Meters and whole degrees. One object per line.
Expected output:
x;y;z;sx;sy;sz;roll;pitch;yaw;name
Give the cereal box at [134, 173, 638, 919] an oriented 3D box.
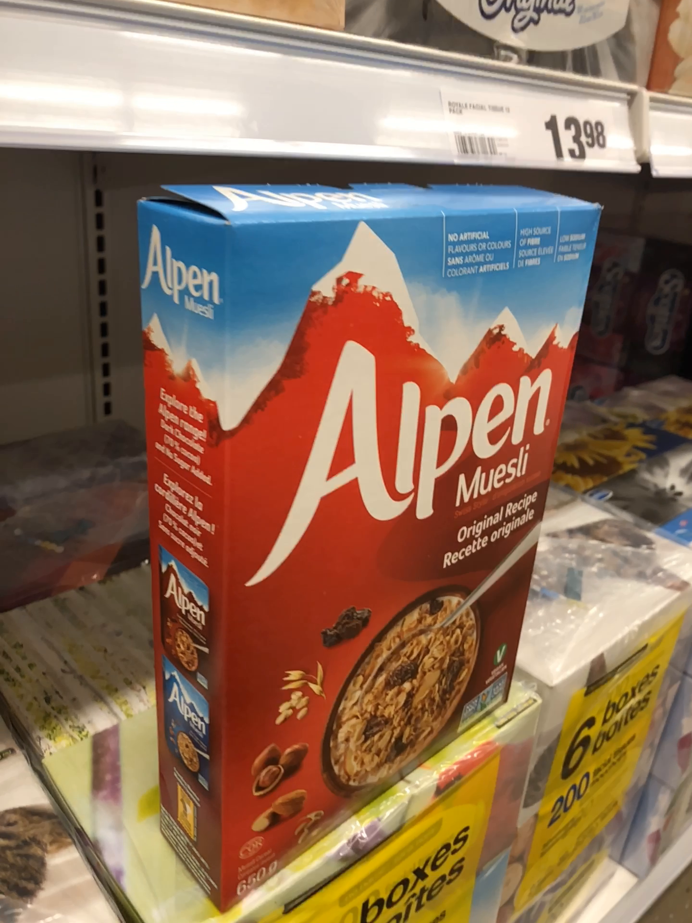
0.018;0.018;0.289;0.180;0.229;0.050;-18;32;-42;cereal box
